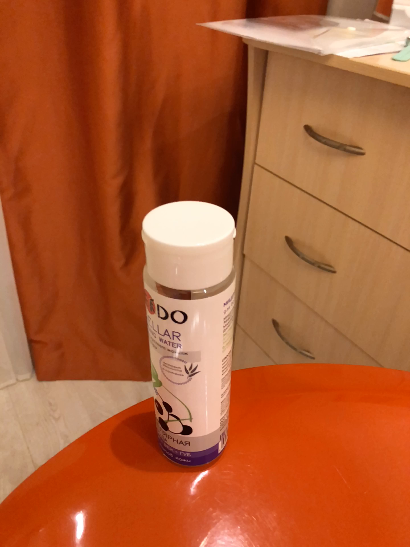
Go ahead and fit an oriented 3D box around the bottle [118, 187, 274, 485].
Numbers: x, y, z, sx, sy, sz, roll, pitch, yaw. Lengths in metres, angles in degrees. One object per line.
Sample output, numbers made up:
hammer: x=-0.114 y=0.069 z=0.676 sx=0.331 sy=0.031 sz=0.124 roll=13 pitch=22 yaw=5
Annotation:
bottle: x=-0.006 y=0.043 z=0.264 sx=0.052 sy=0.166 sz=0.054 roll=1 pitch=36 yaw=0
